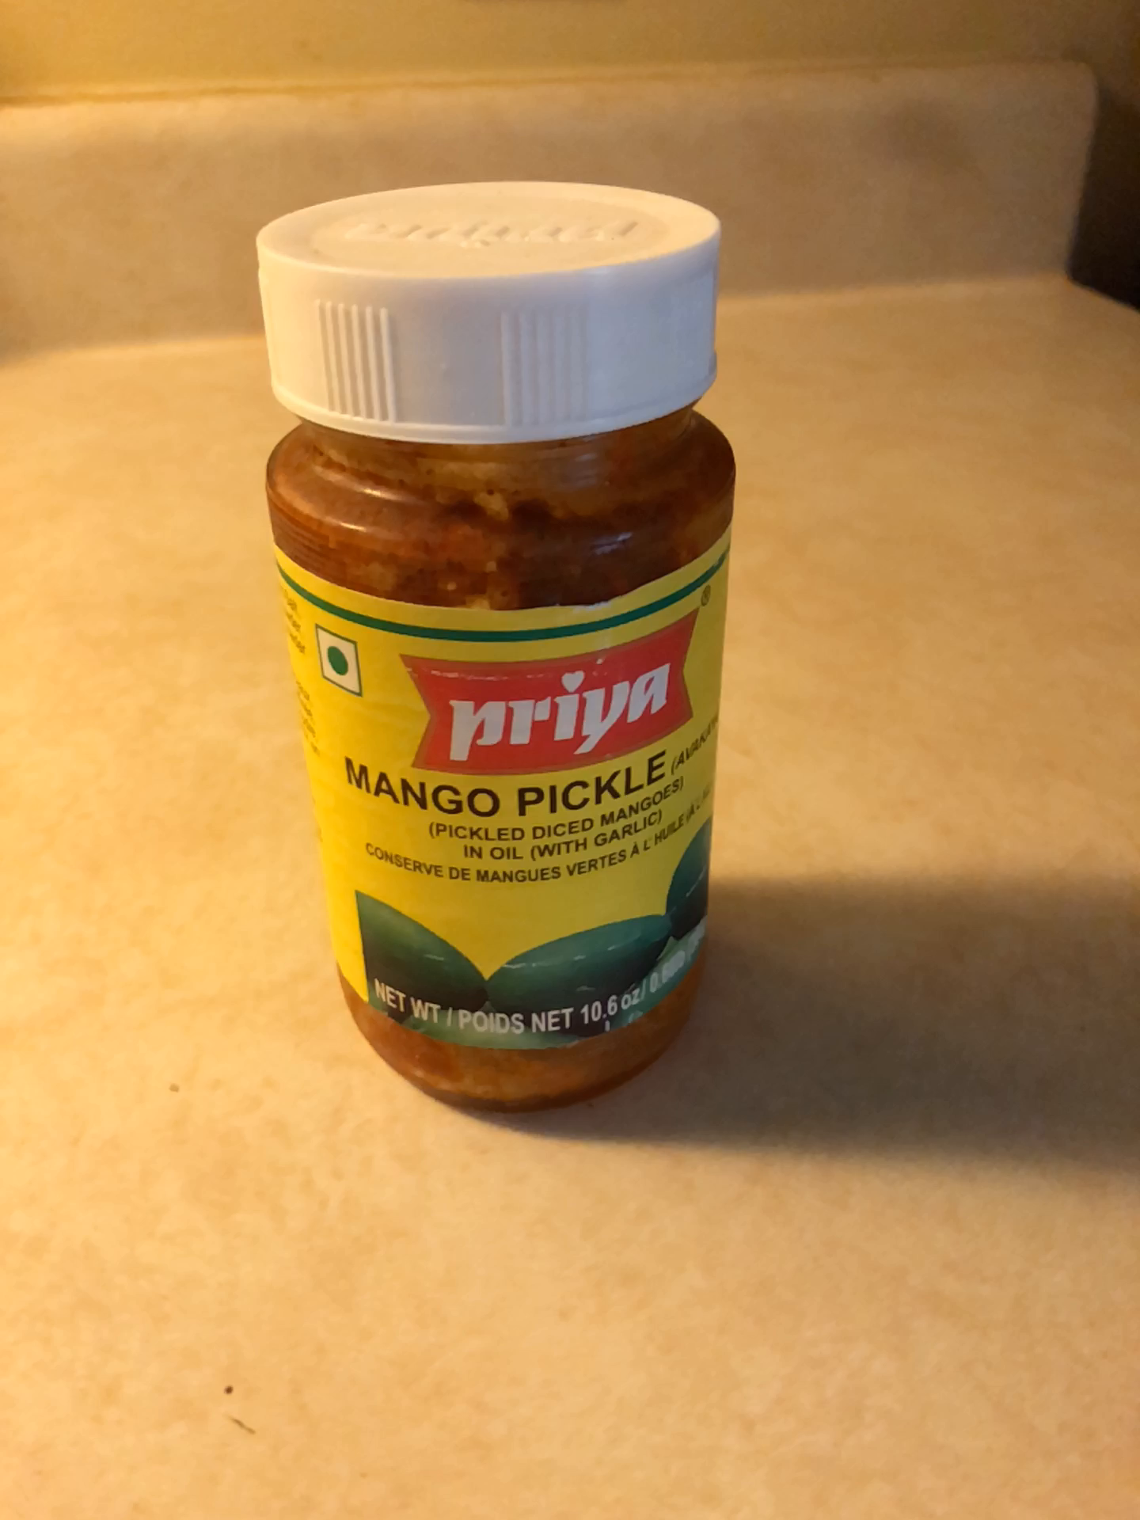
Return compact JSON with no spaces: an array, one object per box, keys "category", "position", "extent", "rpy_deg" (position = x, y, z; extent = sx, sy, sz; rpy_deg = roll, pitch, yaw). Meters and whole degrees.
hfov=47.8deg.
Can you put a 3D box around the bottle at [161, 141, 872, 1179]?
[{"category":"bottle","position":[-0.008,-0.012,0.185],"extent":[0.070,0.130,0.060],"rpy_deg":[-6,33,-8]}]
